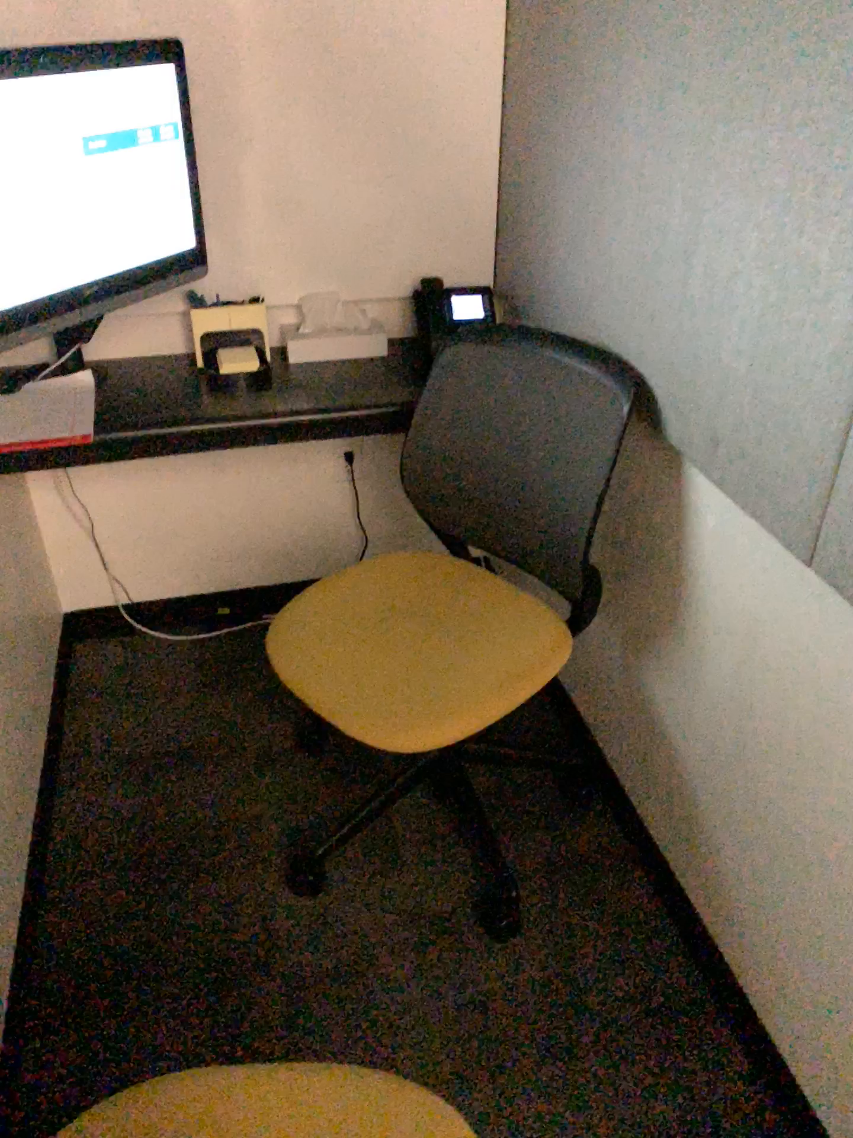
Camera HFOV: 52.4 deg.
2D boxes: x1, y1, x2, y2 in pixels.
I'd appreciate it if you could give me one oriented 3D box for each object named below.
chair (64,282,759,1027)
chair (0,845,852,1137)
[{"bbox_3d":[-0.008,0.075,1.926,0.923,1.034,0.952,25,40,31],"label":"chair"},{"bbox_3d":[-0.070,0.703,0.556,0.550,0.845,0.573,2,33,2],"label":"chair"}]
